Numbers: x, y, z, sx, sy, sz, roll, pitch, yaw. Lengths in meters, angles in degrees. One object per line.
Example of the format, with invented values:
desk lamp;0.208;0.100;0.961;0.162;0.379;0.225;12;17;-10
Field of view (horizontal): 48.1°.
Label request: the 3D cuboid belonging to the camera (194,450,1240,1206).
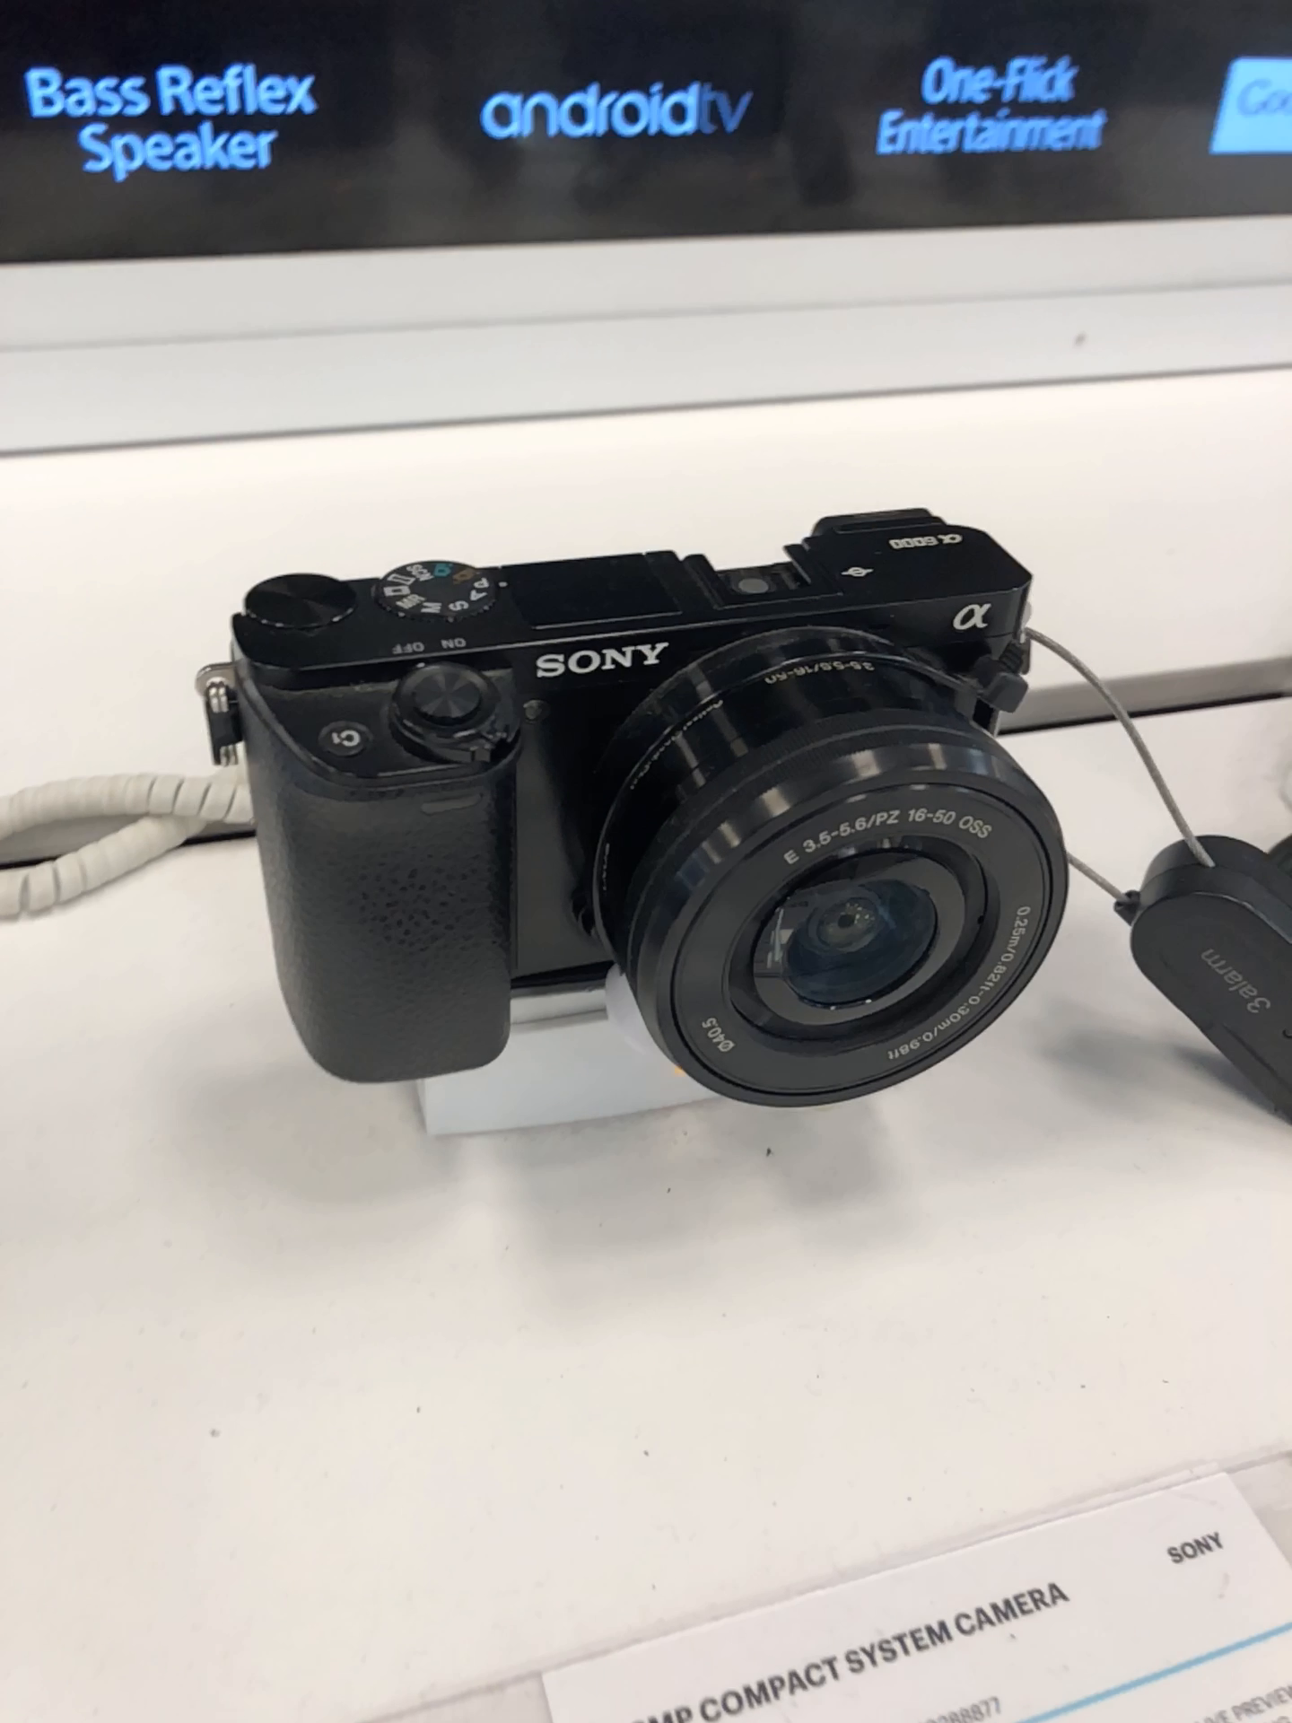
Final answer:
camera;0.006;-0.011;0.223;0.130;0.070;0.070;-10;39;-16
